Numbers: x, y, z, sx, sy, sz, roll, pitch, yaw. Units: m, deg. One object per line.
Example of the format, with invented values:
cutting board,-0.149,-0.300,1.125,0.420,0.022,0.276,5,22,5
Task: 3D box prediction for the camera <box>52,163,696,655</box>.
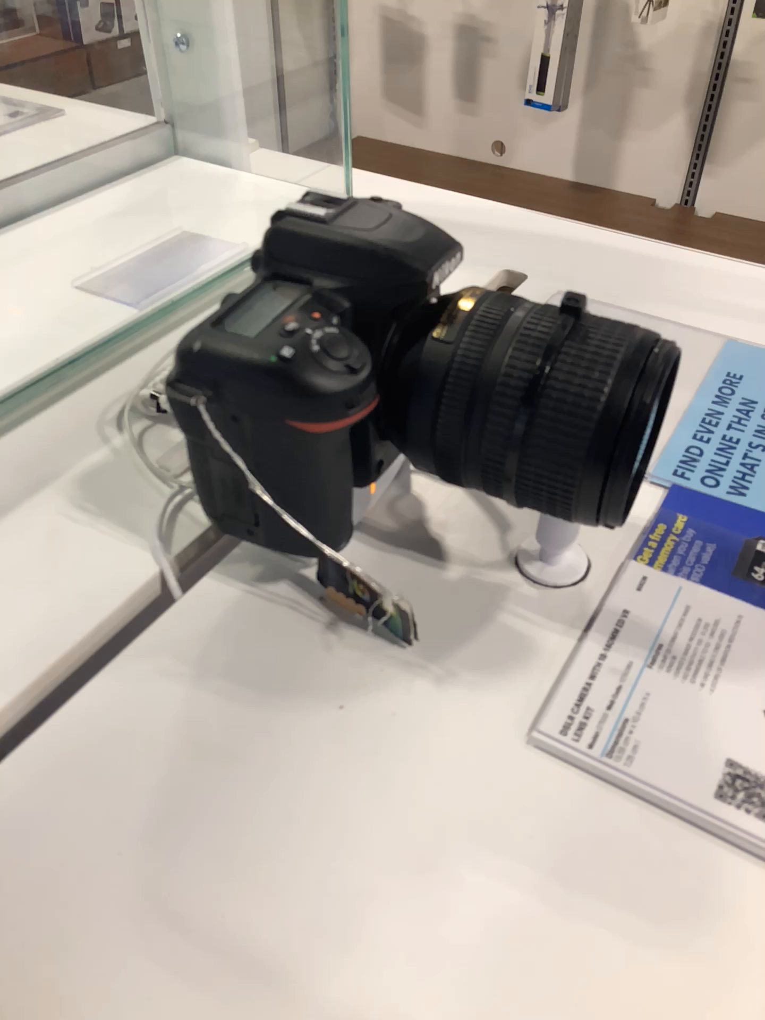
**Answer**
camera,0.002,-0.055,0.332,0.190,0.089,0.141,19,45,20
